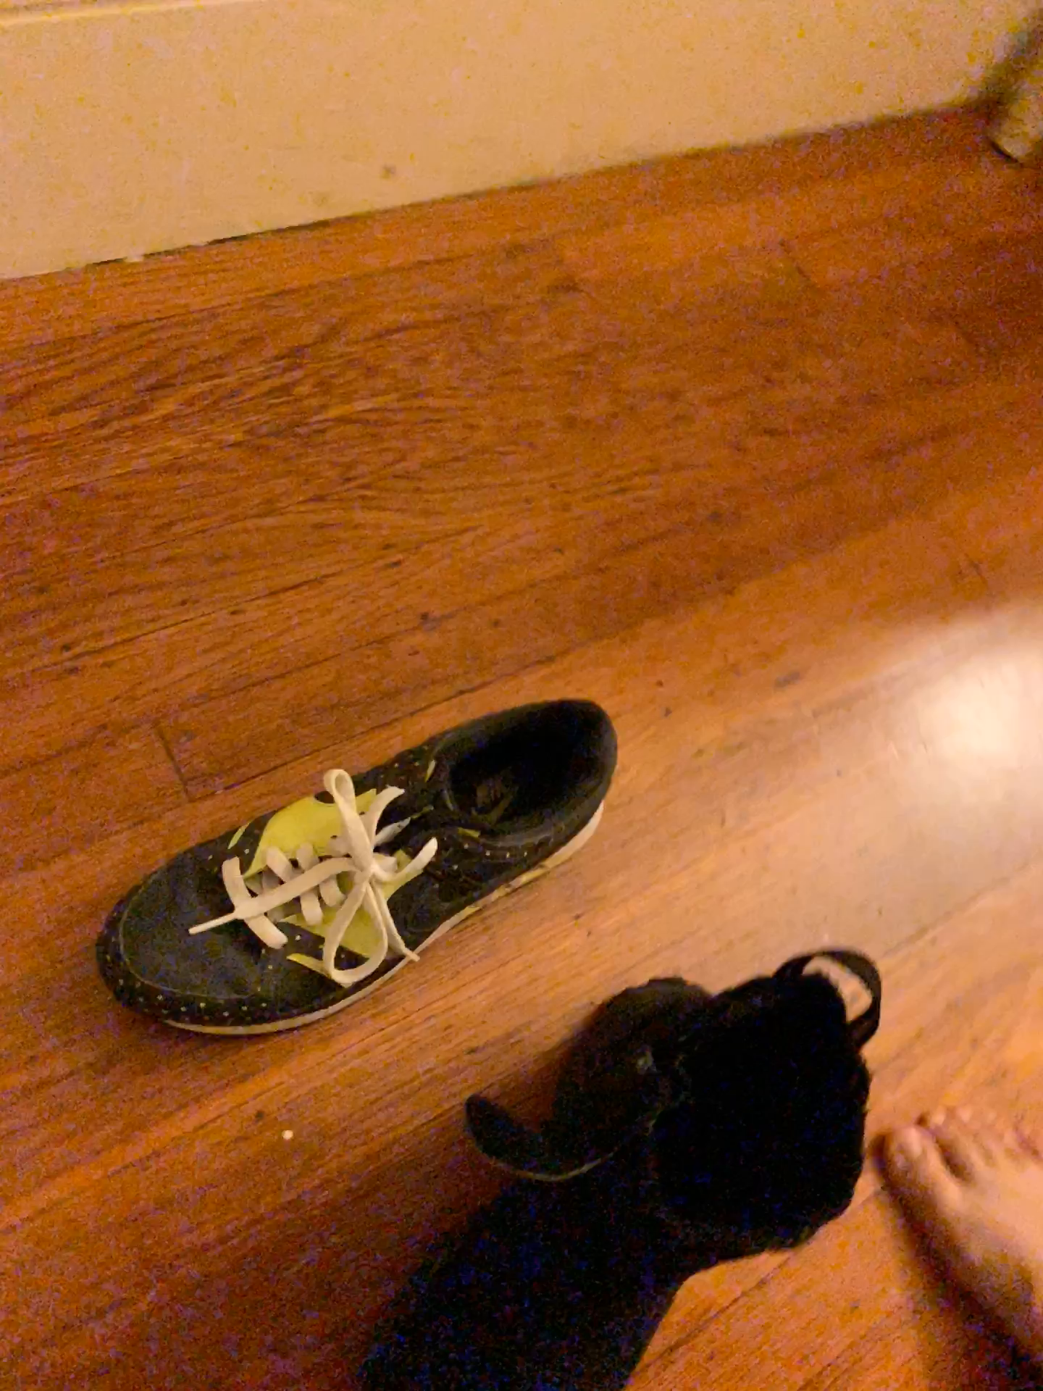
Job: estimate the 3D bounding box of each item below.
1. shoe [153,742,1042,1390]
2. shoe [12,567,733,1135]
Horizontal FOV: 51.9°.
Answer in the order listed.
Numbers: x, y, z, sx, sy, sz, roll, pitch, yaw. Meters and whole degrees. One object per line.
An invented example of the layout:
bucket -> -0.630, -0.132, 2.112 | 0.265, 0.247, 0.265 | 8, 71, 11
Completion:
shoe -> 0.025, 0.220, 0.448 | 0.160, 0.240, 0.310 | 39, 62, 2
shoe -> -0.061, 0.065, 0.505 | 0.290, 0.100, 0.120 | -28, 77, -25
